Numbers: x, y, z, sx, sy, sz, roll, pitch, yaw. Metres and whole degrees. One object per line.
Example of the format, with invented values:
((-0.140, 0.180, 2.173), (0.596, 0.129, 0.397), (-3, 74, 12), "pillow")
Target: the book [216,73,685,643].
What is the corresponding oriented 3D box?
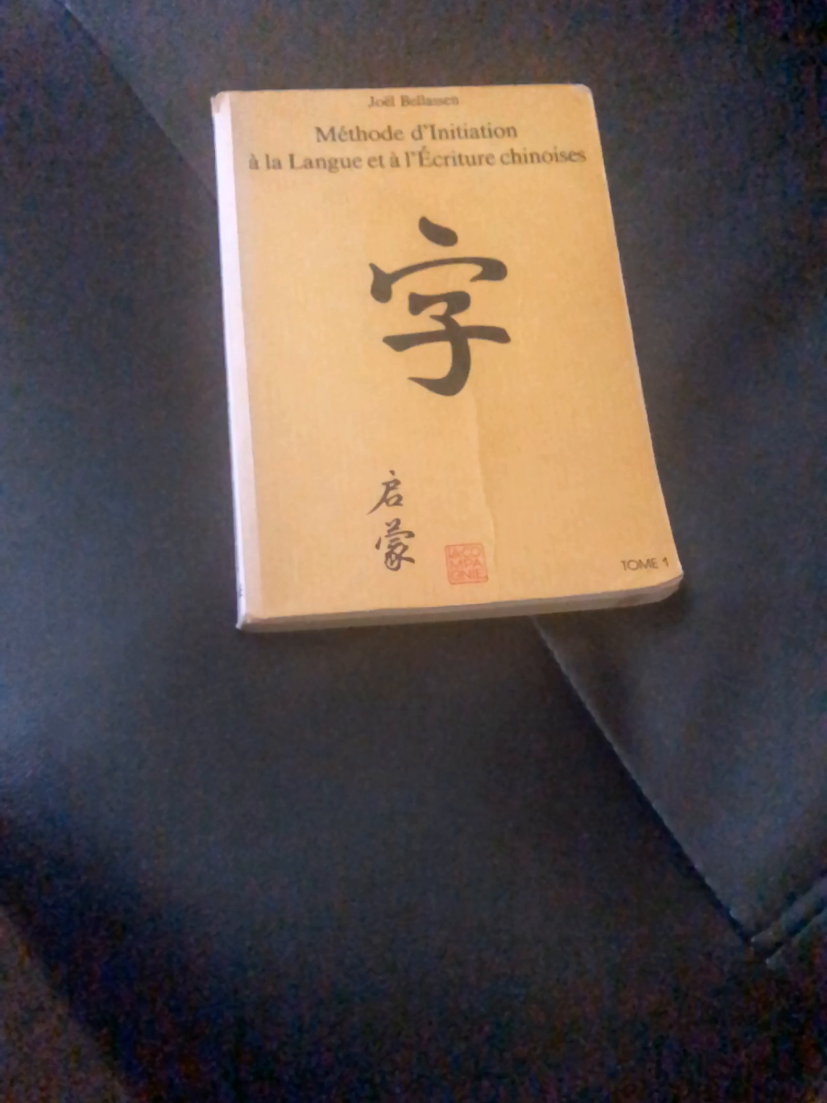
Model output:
((0.005, -0.082, 0.349), (0.152, 0.029, 0.220), (-4, 71, -3), "book")
